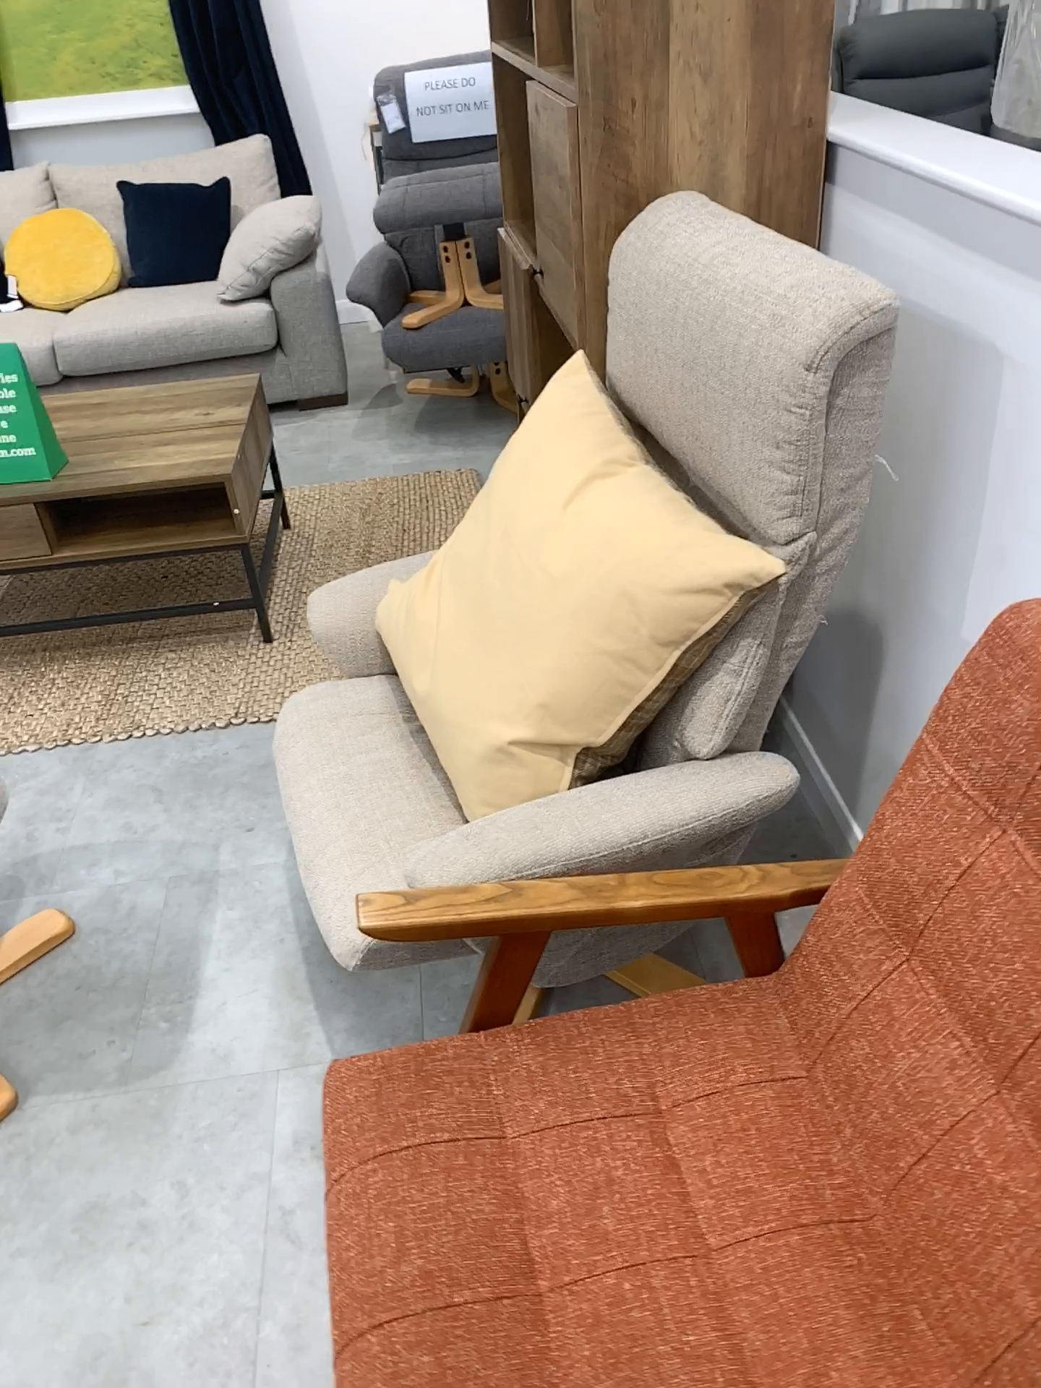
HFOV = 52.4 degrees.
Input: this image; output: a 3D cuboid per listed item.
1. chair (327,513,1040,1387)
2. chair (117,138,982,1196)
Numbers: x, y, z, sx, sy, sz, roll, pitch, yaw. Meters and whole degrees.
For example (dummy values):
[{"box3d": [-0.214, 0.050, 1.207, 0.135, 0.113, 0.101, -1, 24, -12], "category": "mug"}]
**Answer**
[{"box3d": [0.179, 0.394, 0.937, 0.617, 0.919, 0.556, -4, 34, -11], "category": "chair"}, {"box3d": [-0.031, -0.047, 1.424, 0.658, 1.047, 0.768, -15, 42, -14], "category": "chair"}]
